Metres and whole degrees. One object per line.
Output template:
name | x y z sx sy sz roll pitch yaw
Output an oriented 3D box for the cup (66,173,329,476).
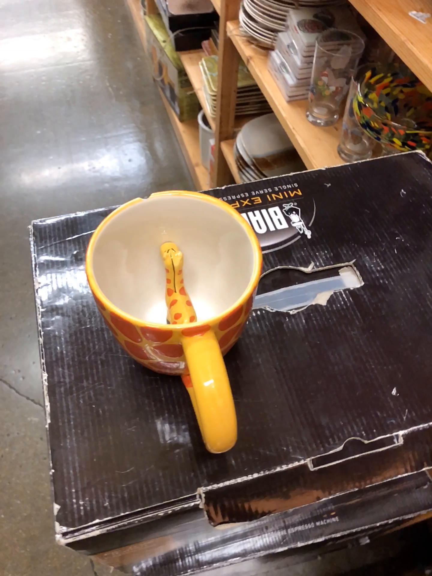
cup | -0.018 0.016 0.264 0.102 0.067 0.134 -11 58 -9
